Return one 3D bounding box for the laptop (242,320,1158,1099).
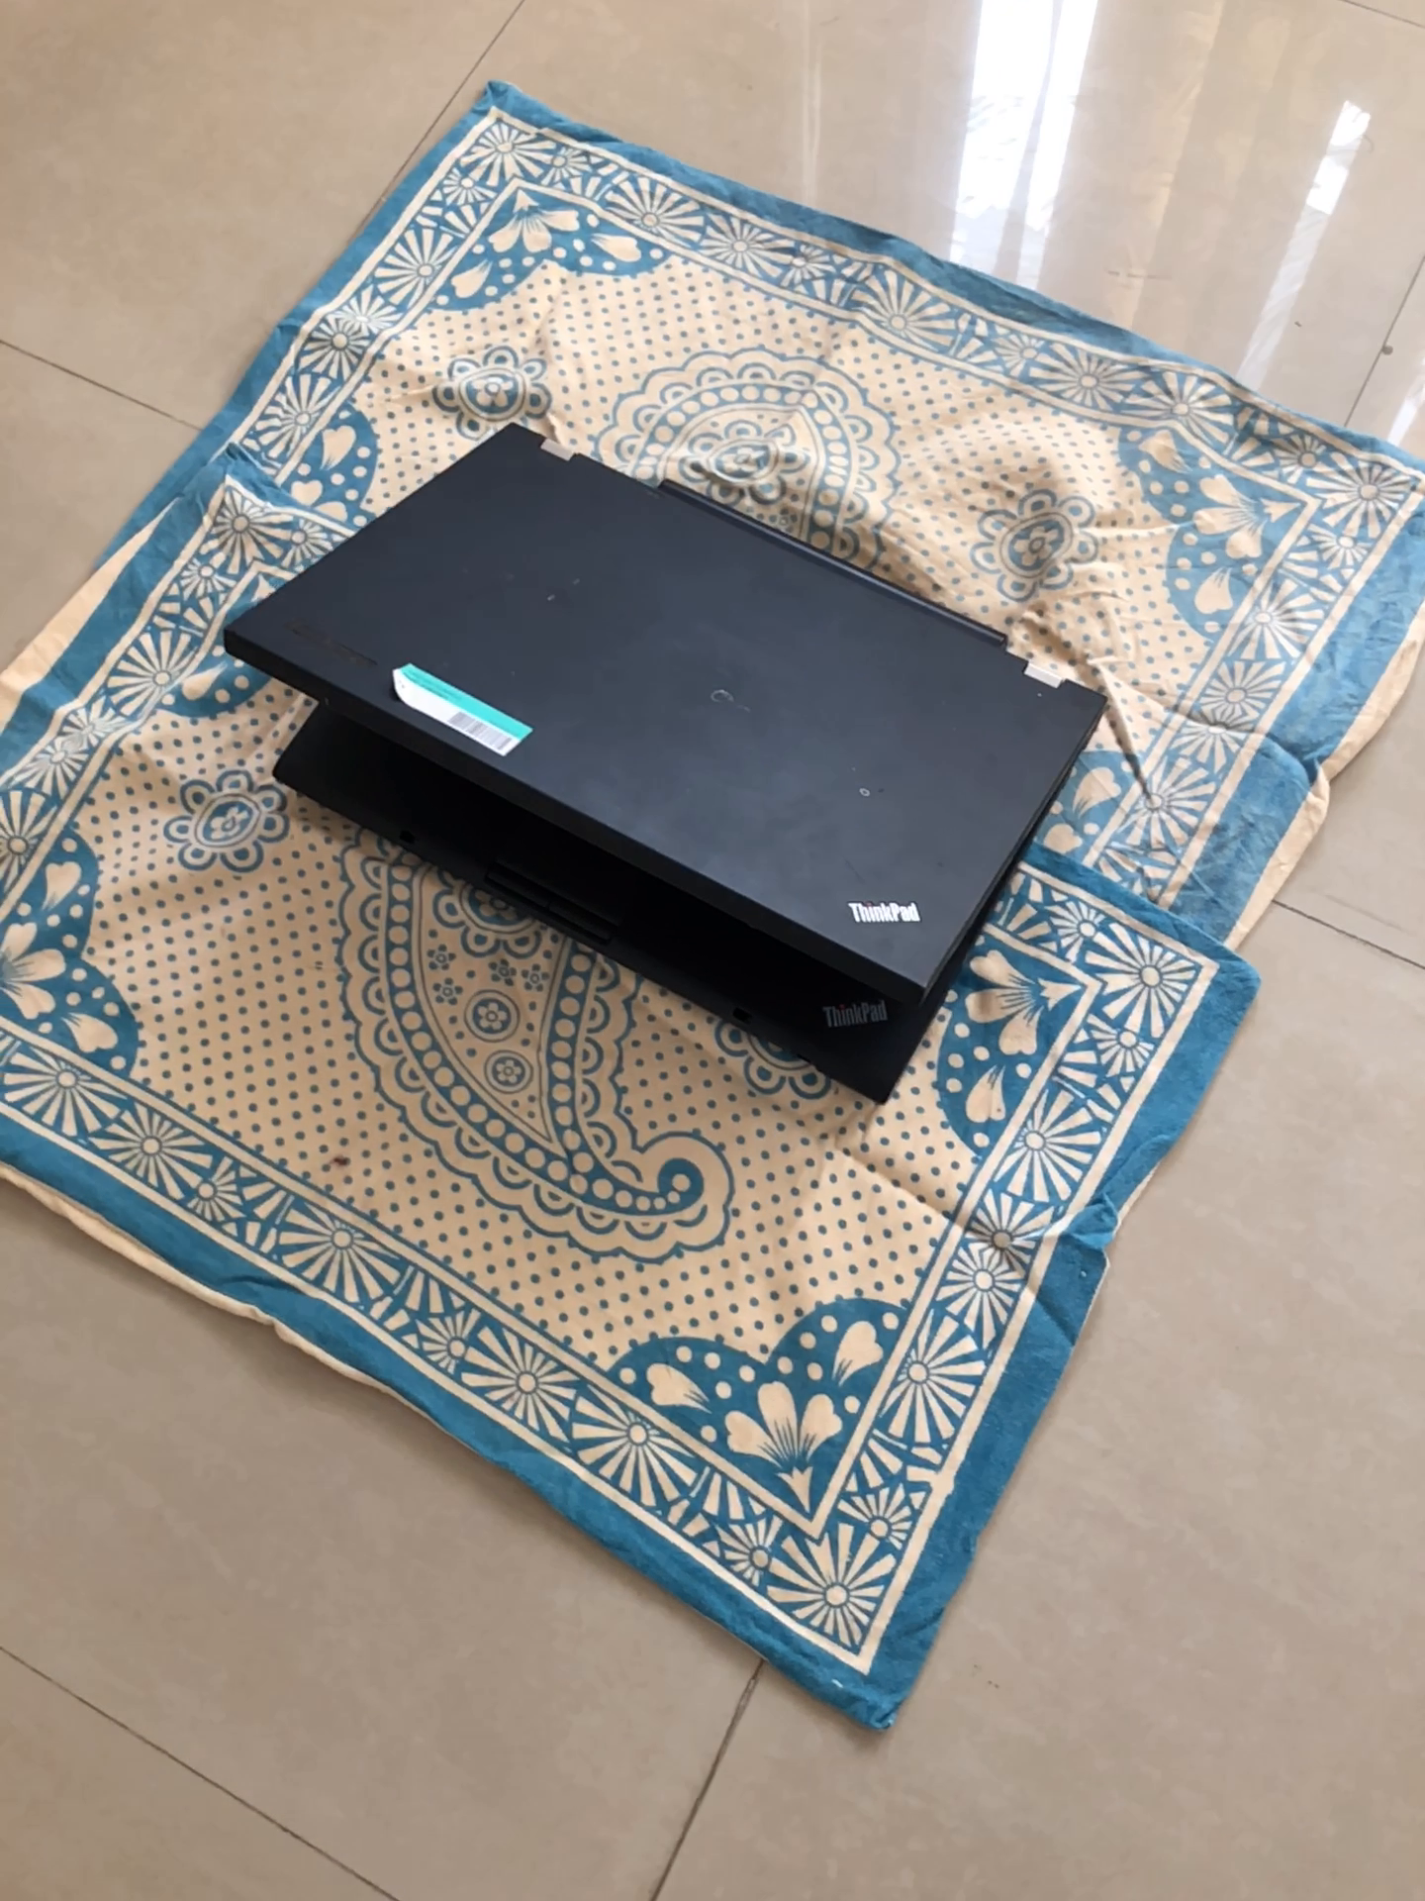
[{"bbox_3d":[-0.007,-0.126,0.770,0.348,0.125,0.241,29,72,17],"label":"laptop"}]
